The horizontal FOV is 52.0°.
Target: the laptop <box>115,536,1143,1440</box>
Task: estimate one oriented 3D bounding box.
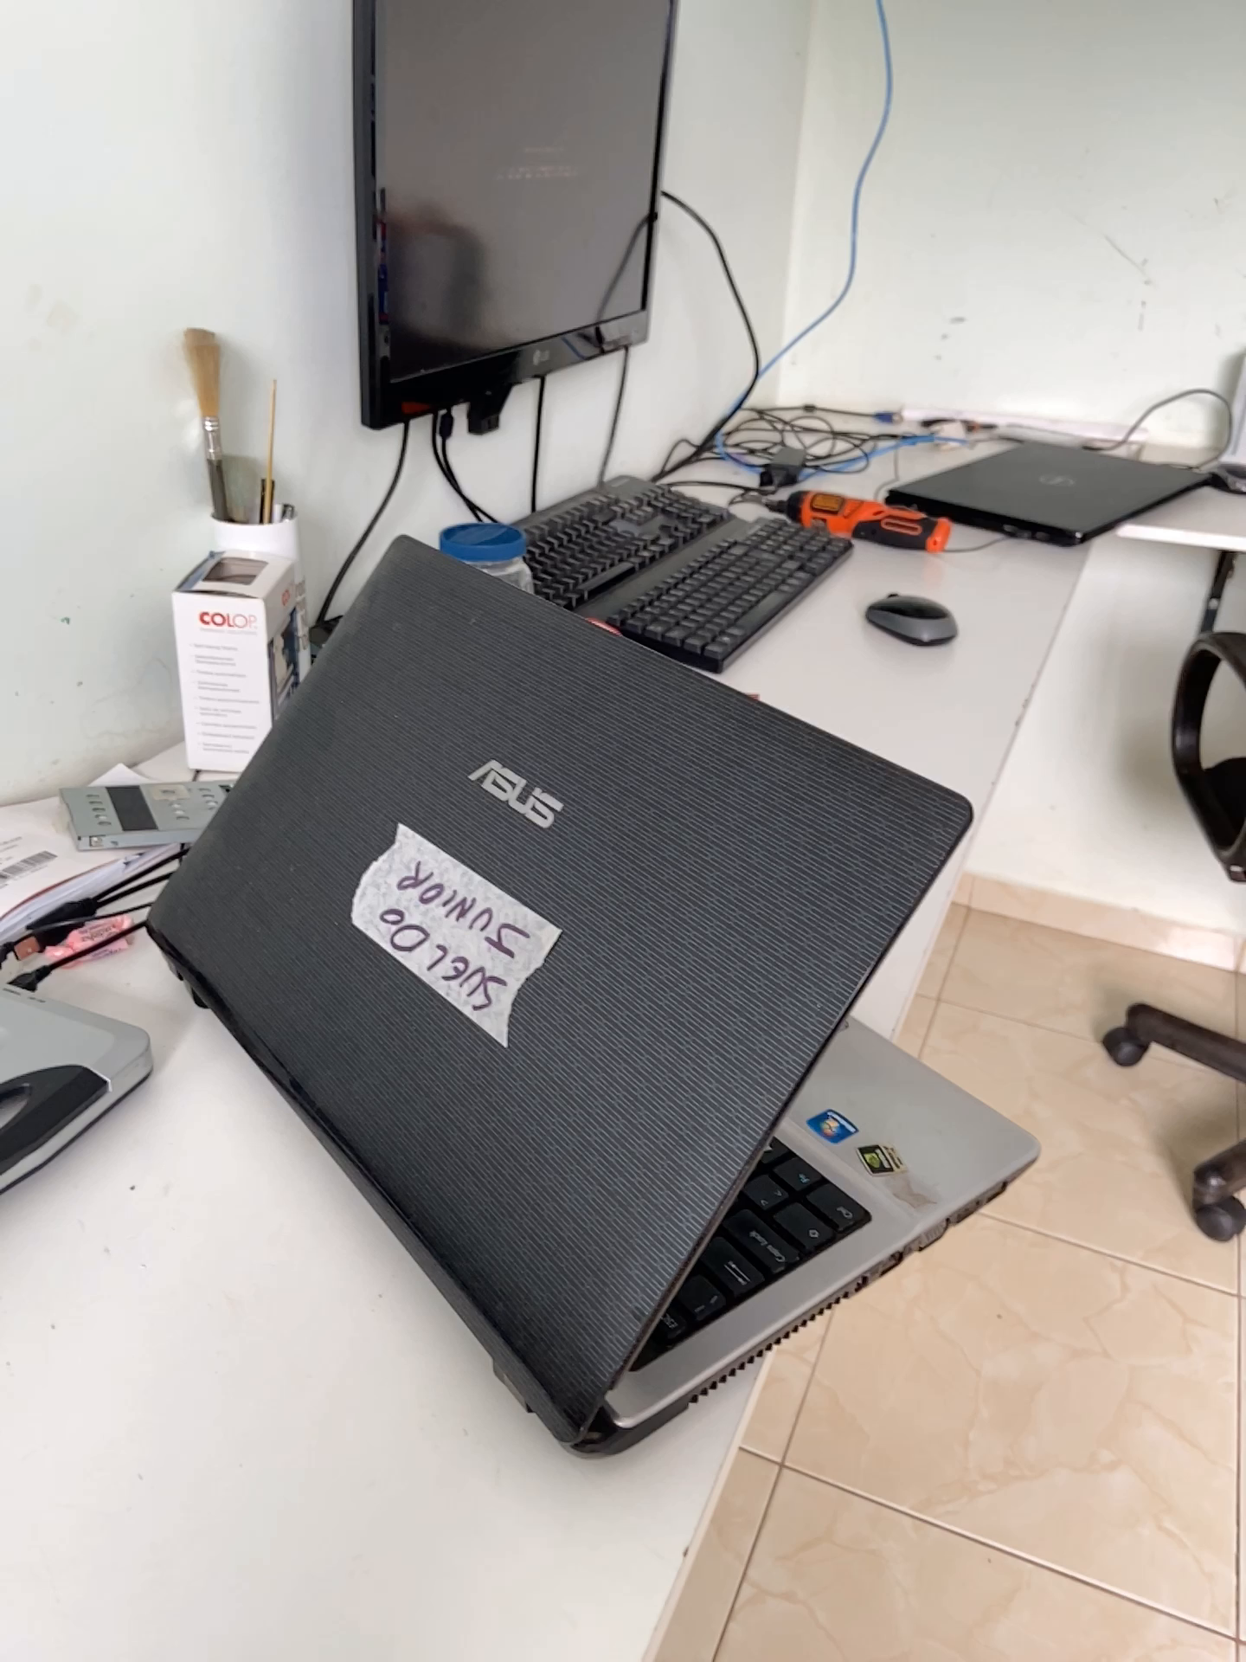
[{"bbox_3d":[-0.024,0.014,0.570,0.247,0.182,0.377,-18,33,-34],"label":"laptop"}]
